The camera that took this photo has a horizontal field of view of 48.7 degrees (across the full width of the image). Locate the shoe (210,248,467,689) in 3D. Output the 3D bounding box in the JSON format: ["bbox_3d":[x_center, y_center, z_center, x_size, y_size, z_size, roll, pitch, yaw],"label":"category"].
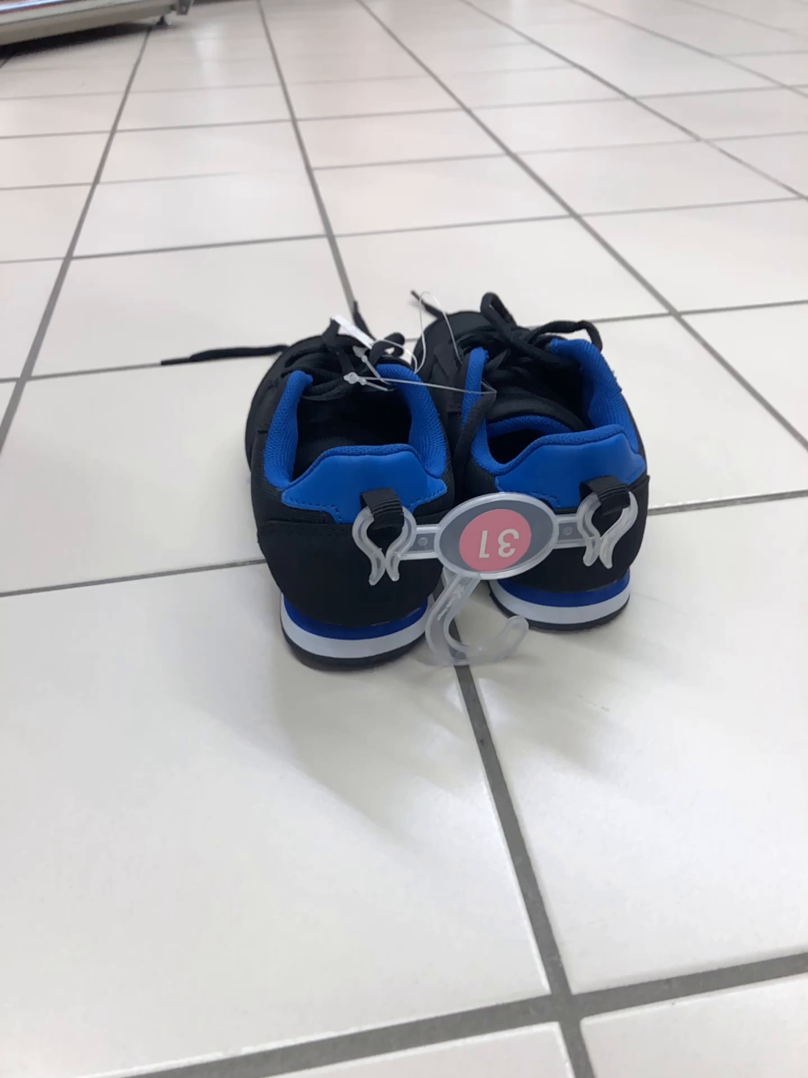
[{"bbox_3d":[-0.036,-0.046,0.379,0.076,0.082,0.208,-8,37,-8],"label":"shoe"}]

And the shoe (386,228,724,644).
[{"bbox_3d":[0.049,-0.060,0.393,0.076,0.082,0.208,-8,37,-8],"label":"shoe"}]
